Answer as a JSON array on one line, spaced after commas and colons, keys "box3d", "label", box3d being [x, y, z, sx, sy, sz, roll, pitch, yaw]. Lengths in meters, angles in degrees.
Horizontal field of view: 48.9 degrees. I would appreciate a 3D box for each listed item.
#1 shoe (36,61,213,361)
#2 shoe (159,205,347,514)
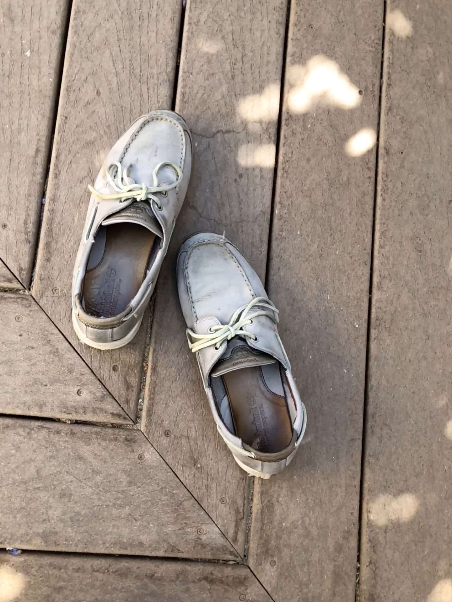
[{"box3d": [-0.112, -0.098, 0.586, 0.116, 0.099, 0.314, 13, 80, -7], "label": "shoe"}, {"box3d": [0.021, 0.062, 0.589, 0.120, 0.109, 0.310, -15, 84, -11], "label": "shoe"}]
